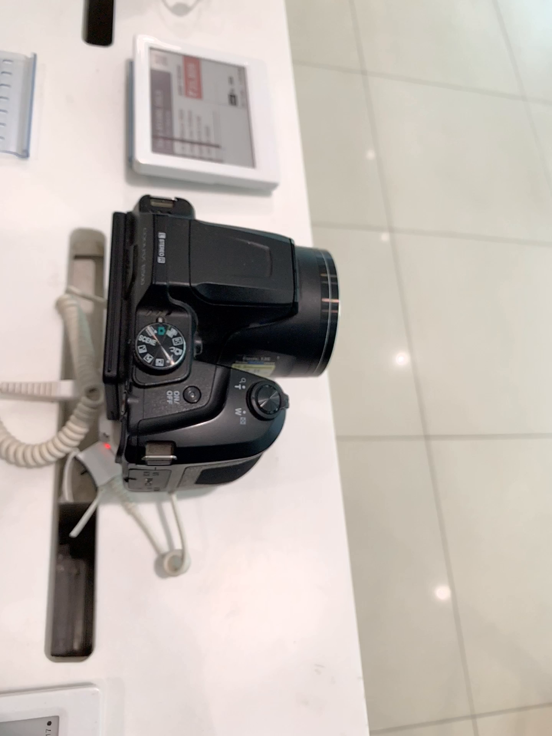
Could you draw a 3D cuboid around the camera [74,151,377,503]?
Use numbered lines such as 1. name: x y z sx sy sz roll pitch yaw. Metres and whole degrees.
1. camera: -0.027 -0.011 0.247 0.100 0.080 0.120 1 68 -14
